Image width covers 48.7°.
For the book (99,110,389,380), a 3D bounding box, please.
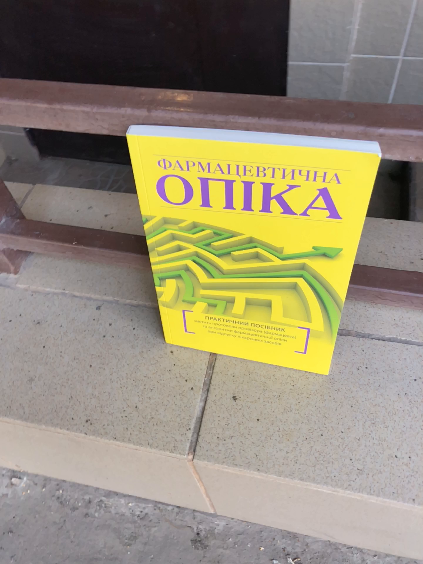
[{"bbox_3d":[0.024,-0.013,0.382,0.180,0.239,0.030,9,49,12],"label":"book"}]
